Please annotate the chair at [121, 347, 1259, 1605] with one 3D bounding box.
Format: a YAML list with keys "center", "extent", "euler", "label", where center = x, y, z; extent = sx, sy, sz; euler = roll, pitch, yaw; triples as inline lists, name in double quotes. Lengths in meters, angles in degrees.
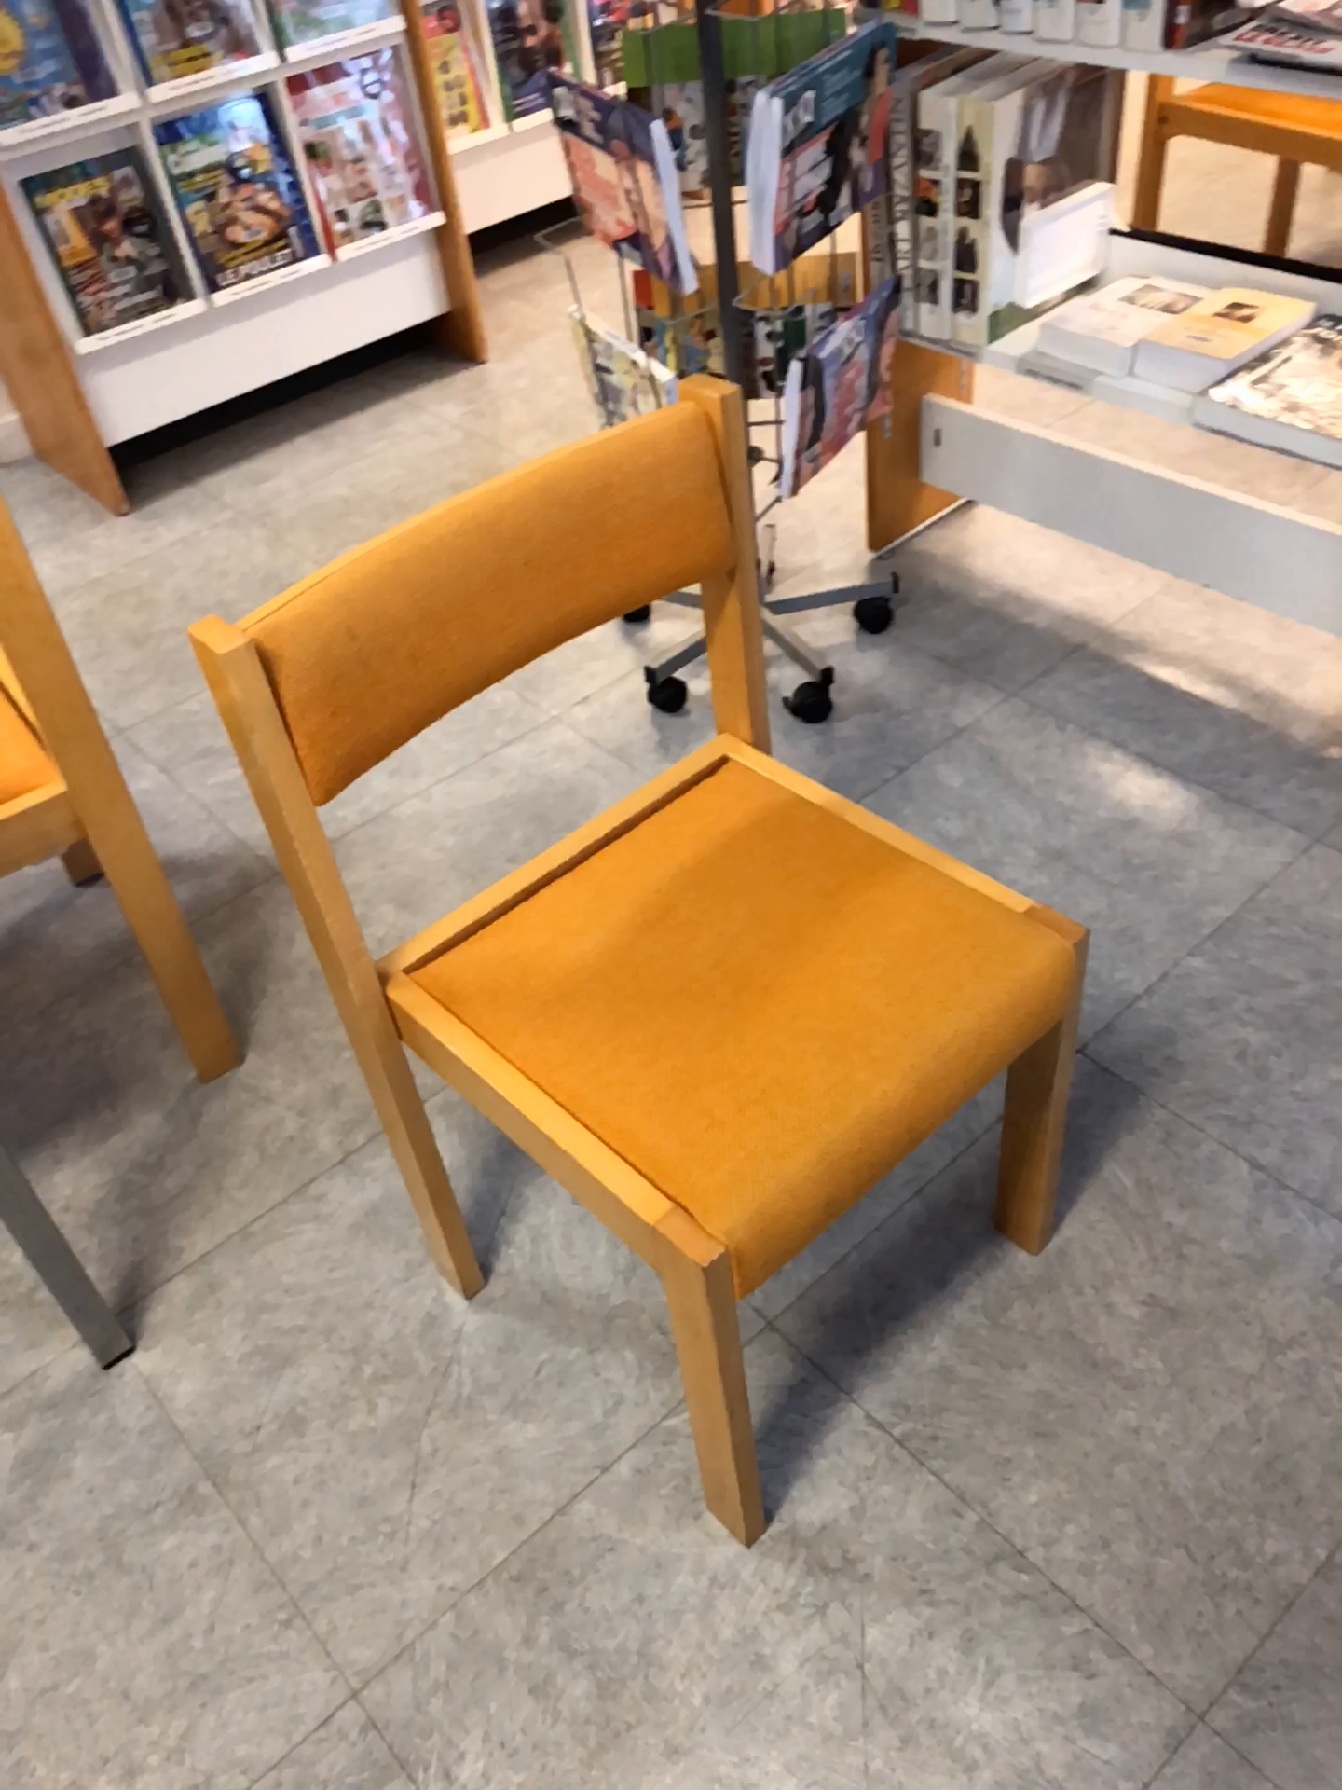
- center: [0.037, 0.047, 1.203]
  extent: [0.552, 0.696, 0.521]
  euler: [-35, 49, -27]
  label: "chair"
